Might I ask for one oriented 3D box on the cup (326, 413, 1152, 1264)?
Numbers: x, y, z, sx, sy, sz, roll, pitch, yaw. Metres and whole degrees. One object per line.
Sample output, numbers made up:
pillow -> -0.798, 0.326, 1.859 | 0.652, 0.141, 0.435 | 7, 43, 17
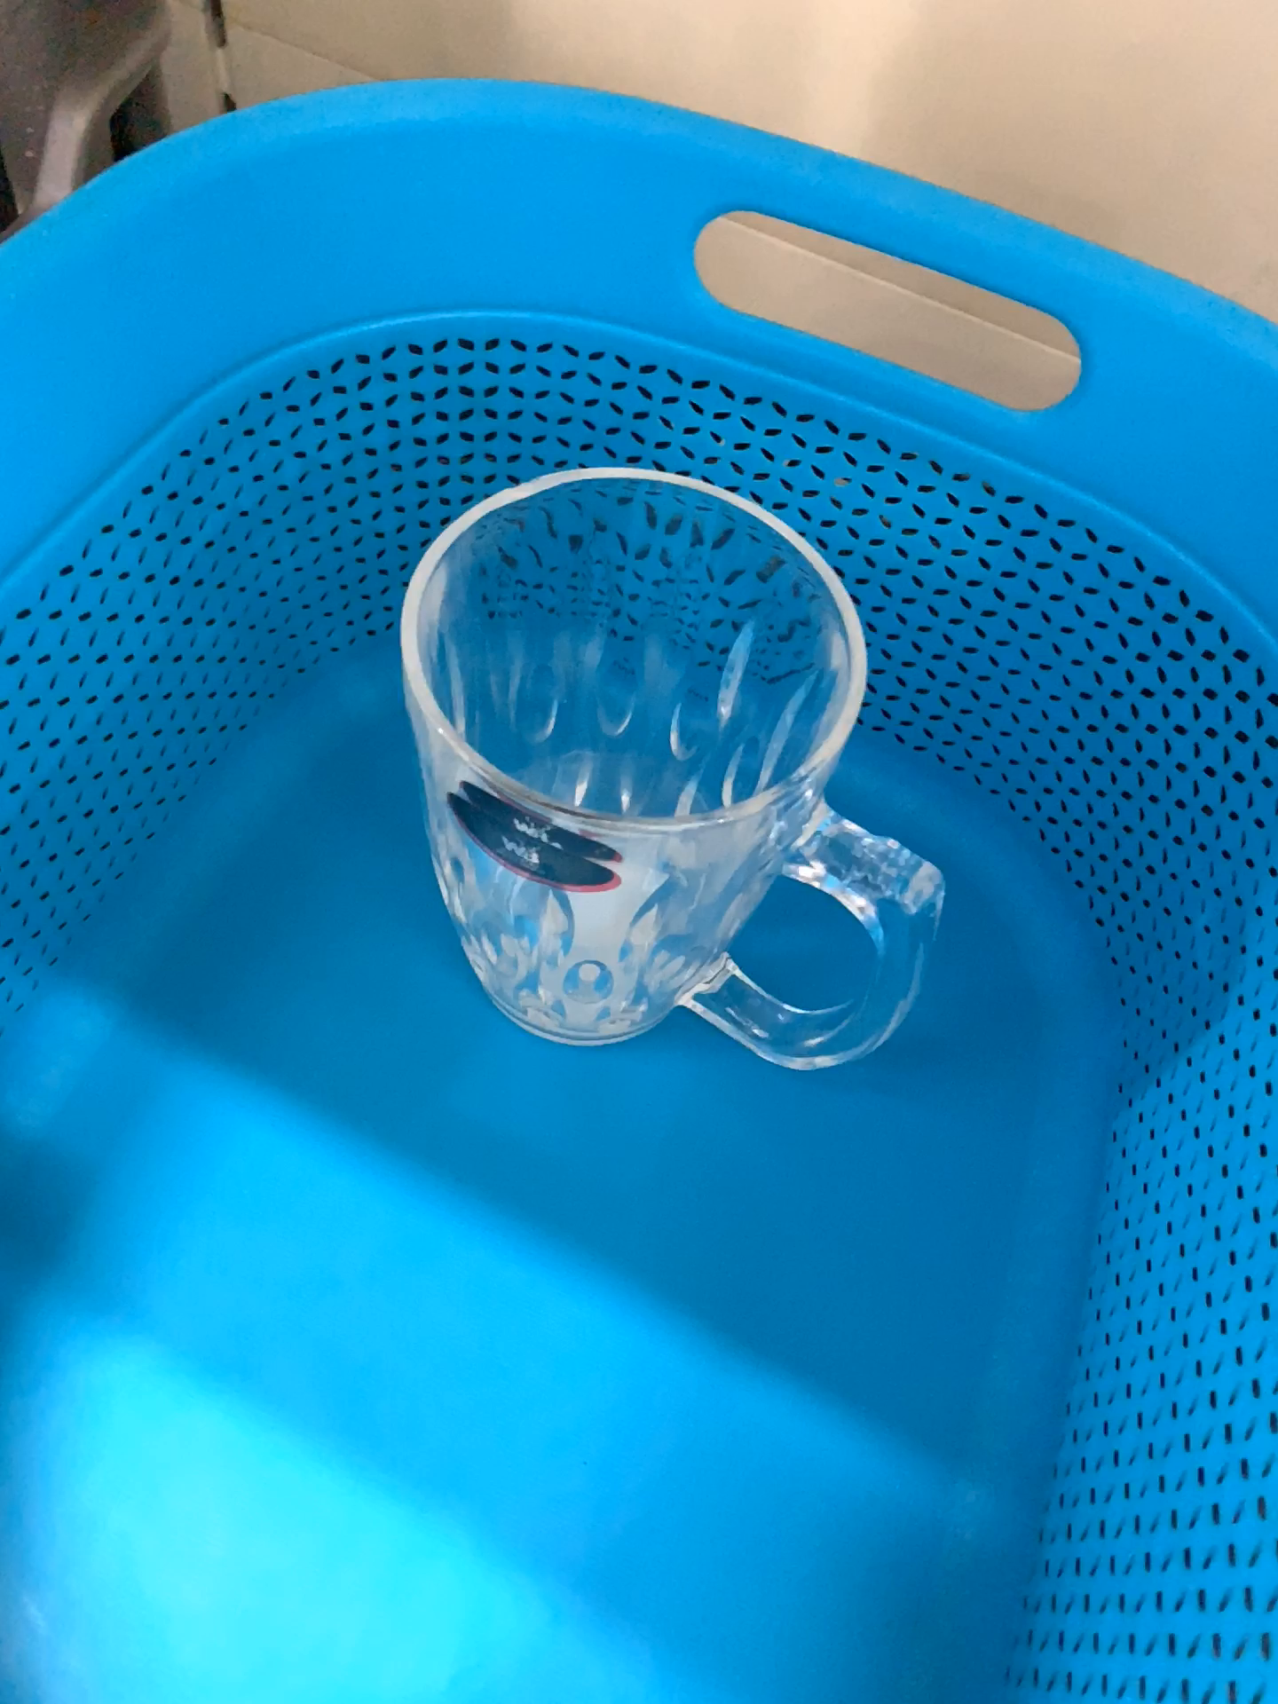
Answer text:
cup -> 0.013, 0.002, 0.259 | 0.110, 0.109, 0.080 | 30, 59, 11
